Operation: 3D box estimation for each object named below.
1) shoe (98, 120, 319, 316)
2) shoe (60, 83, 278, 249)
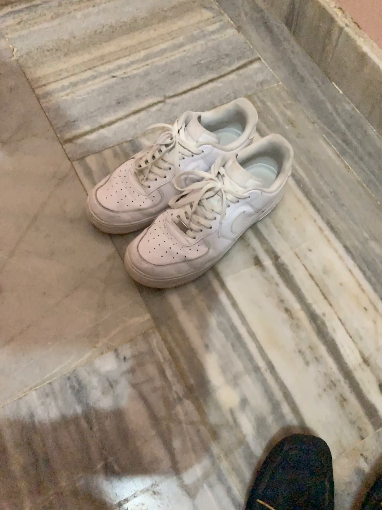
[{"bbox_3d":[0.029,-0.058,0.597,0.309,0.120,0.110,-36,74,-17],"label":"shoe"},{"bbox_3d":[-0.031,-0.145,0.637,0.310,0.120,0.110,-26,72,-14],"label":"shoe"}]
